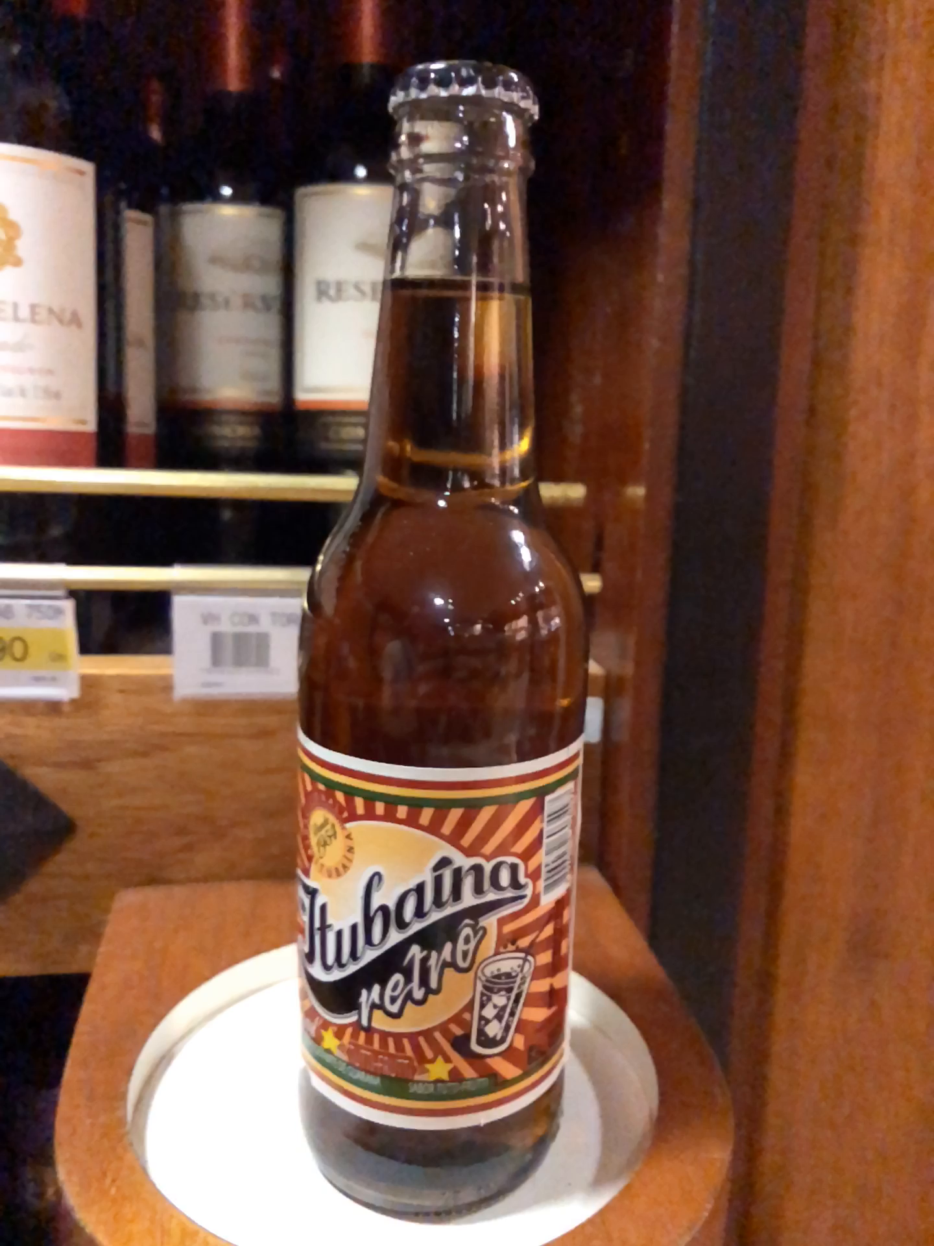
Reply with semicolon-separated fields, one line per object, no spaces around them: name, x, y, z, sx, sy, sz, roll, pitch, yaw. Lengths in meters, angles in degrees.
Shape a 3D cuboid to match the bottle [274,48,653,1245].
bottle;-0.001;0.010;0.249;0.070;0.249;0.070;2;8;0
